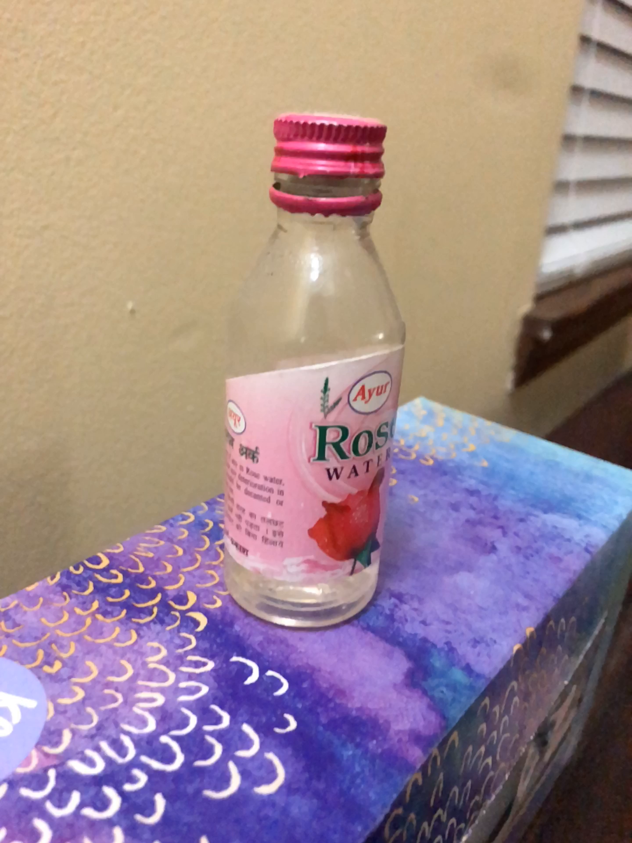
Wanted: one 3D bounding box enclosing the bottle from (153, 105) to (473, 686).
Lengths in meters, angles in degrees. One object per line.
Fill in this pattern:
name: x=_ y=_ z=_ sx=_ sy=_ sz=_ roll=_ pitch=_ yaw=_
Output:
bottle: x=-0.003 y=-0.007 z=0.142 sx=0.040 sy=0.100 sz=0.040 roll=2 pitch=21 yaw=-1
